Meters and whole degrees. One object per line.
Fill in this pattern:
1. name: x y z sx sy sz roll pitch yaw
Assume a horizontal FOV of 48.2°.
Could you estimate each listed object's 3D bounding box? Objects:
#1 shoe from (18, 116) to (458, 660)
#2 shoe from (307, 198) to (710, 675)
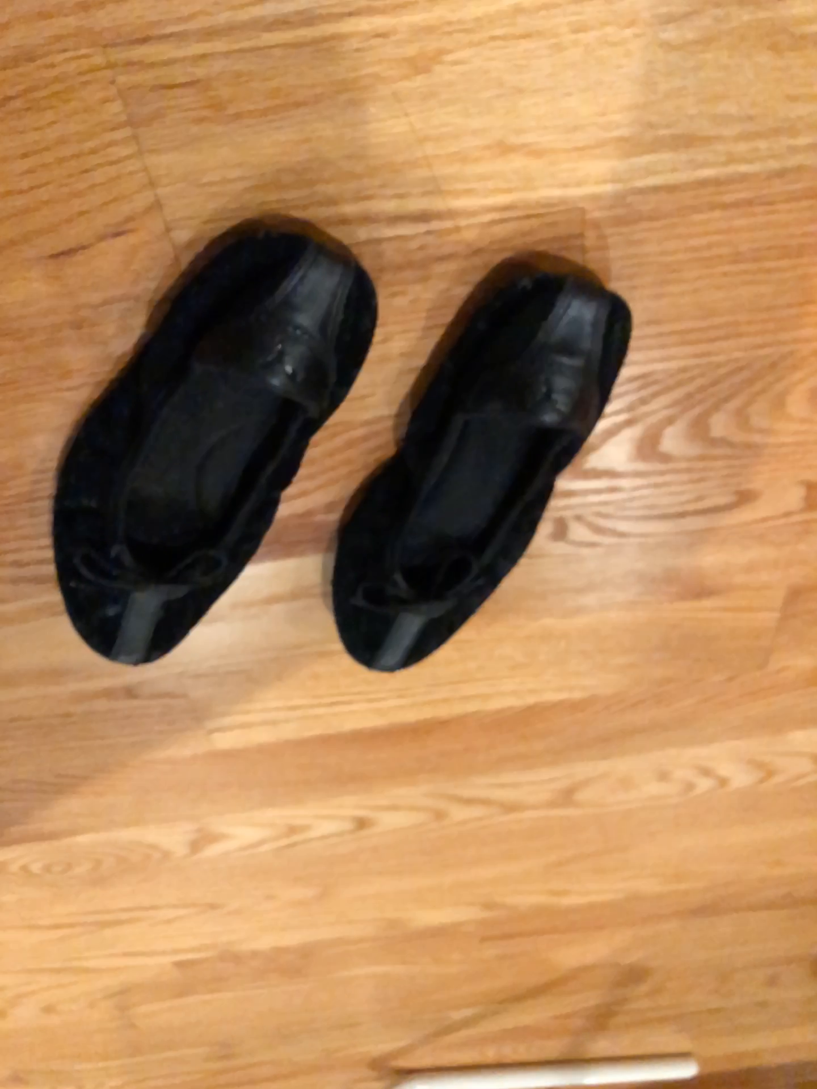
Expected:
1. shoe: -0.082 -0.045 0.384 0.100 0.050 0.220 18 131 -24
2. shoe: 0.029 -0.030 0.413 0.093 0.046 0.221 11 133 -18
